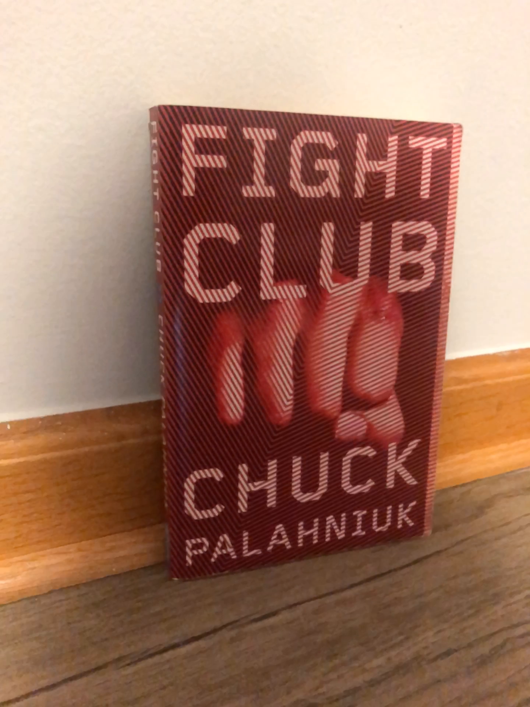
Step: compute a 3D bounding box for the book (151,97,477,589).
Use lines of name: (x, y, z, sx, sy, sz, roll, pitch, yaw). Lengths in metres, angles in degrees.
book: (0.020, -0.001, 0.281, 0.138, 0.210, 0.030, -4, 17, -19)
